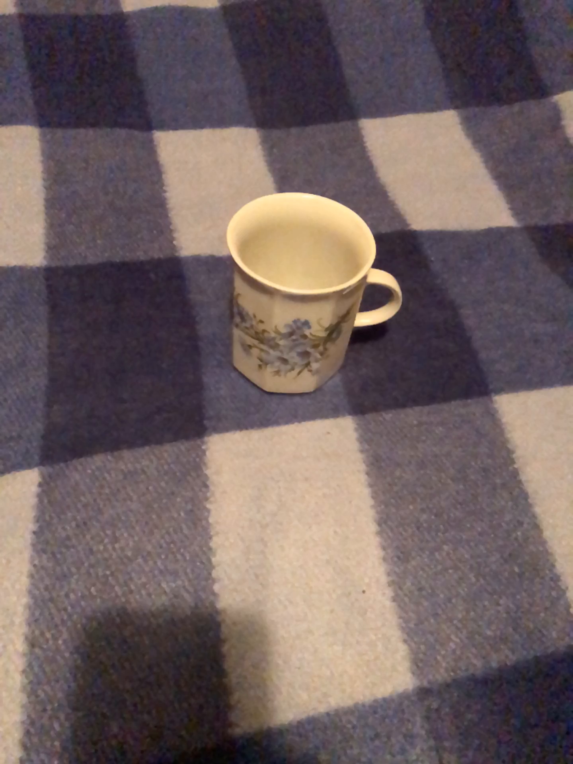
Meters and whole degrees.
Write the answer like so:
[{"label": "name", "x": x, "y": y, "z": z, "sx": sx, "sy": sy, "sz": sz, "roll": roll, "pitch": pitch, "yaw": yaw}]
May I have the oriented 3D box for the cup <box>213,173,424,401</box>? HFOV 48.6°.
[{"label": "cup", "x": 0.013, "y": -0.050, "z": 0.354, "sx": 0.098, "sy": 0.094, "sz": 0.077, "roll": 3, "pitch": 55, "yaw": -2}]
